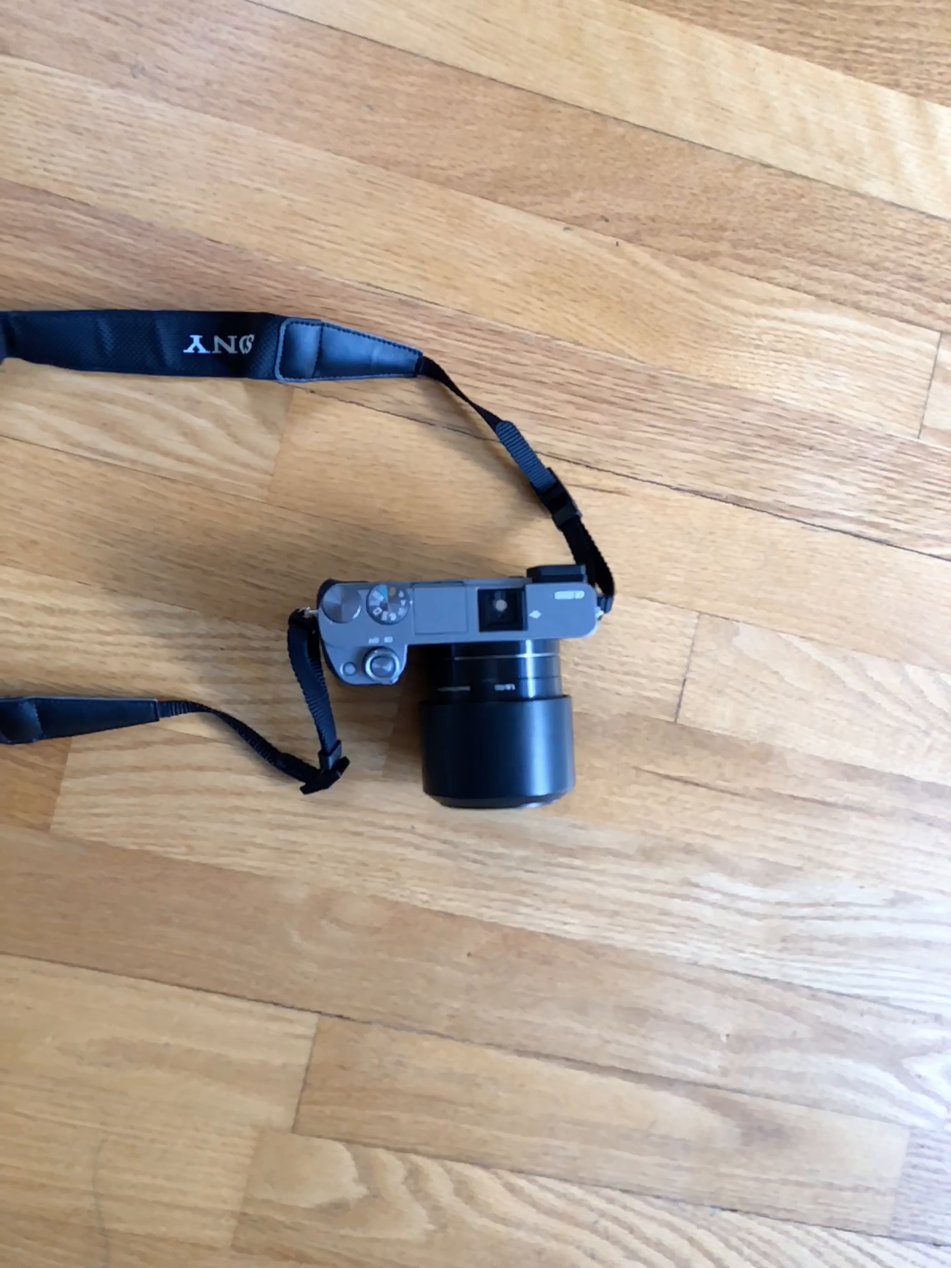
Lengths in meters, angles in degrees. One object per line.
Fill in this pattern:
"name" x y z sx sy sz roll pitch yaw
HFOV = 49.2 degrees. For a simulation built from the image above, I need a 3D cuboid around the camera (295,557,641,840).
"camera" -0.005 0.026 0.465 0.140 0.060 0.110 -3 90 -8
